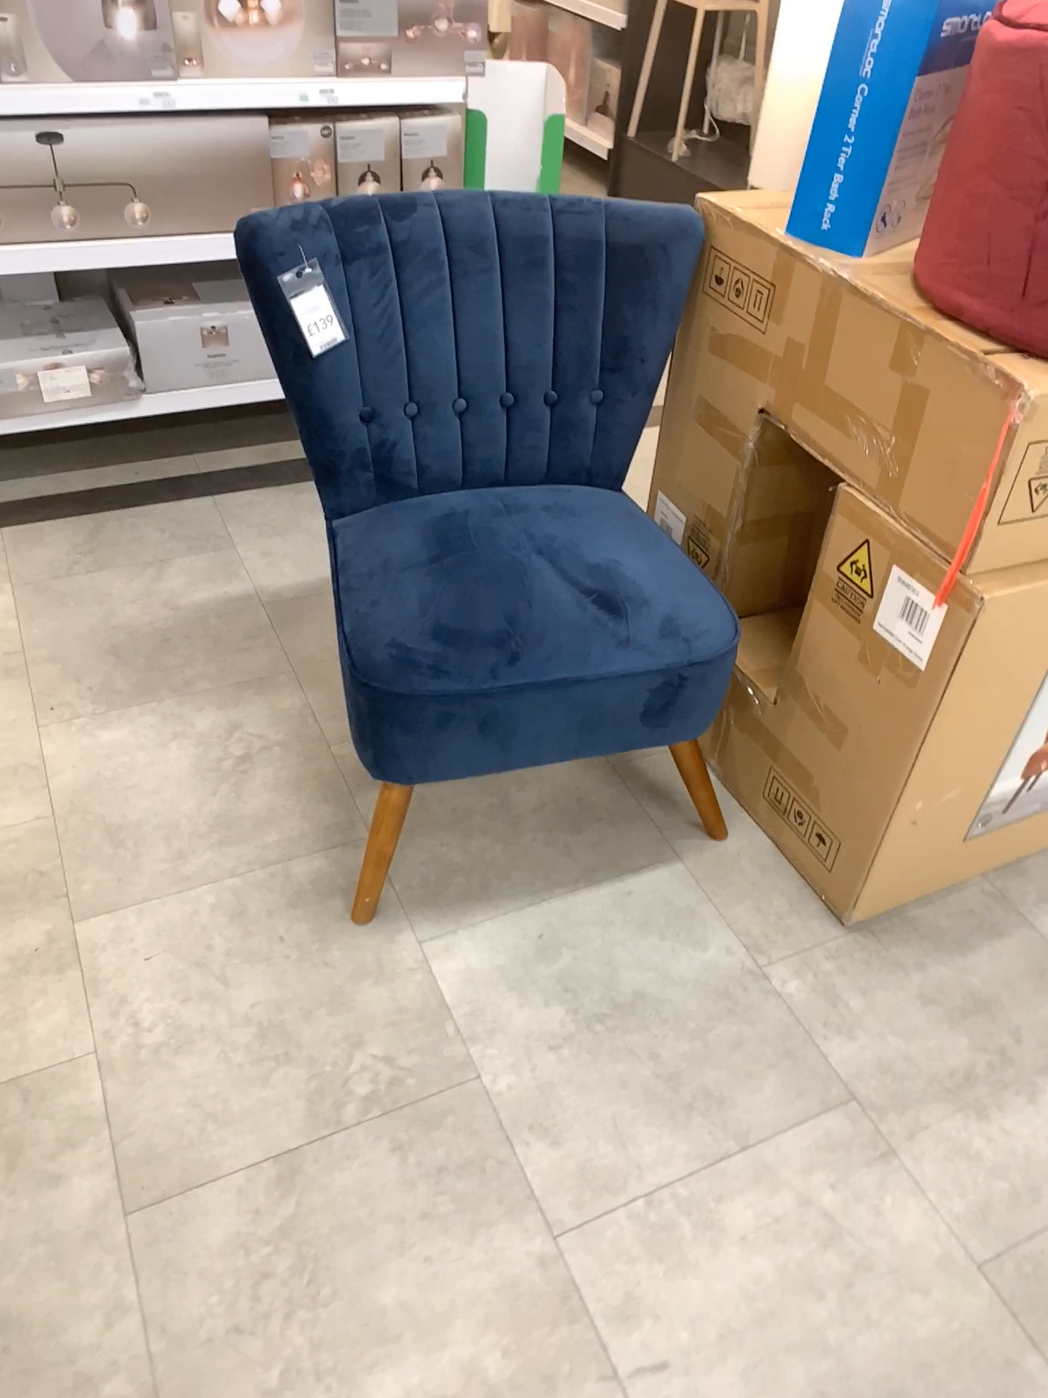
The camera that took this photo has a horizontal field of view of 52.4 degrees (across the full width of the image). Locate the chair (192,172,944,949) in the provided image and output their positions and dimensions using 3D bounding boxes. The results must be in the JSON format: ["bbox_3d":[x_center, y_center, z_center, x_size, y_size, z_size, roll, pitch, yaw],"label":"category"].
[{"bbox_3d":[-0.028,-0.246,1.578,0.730,0.789,0.732,-9,42,-17],"label":"chair"}]
